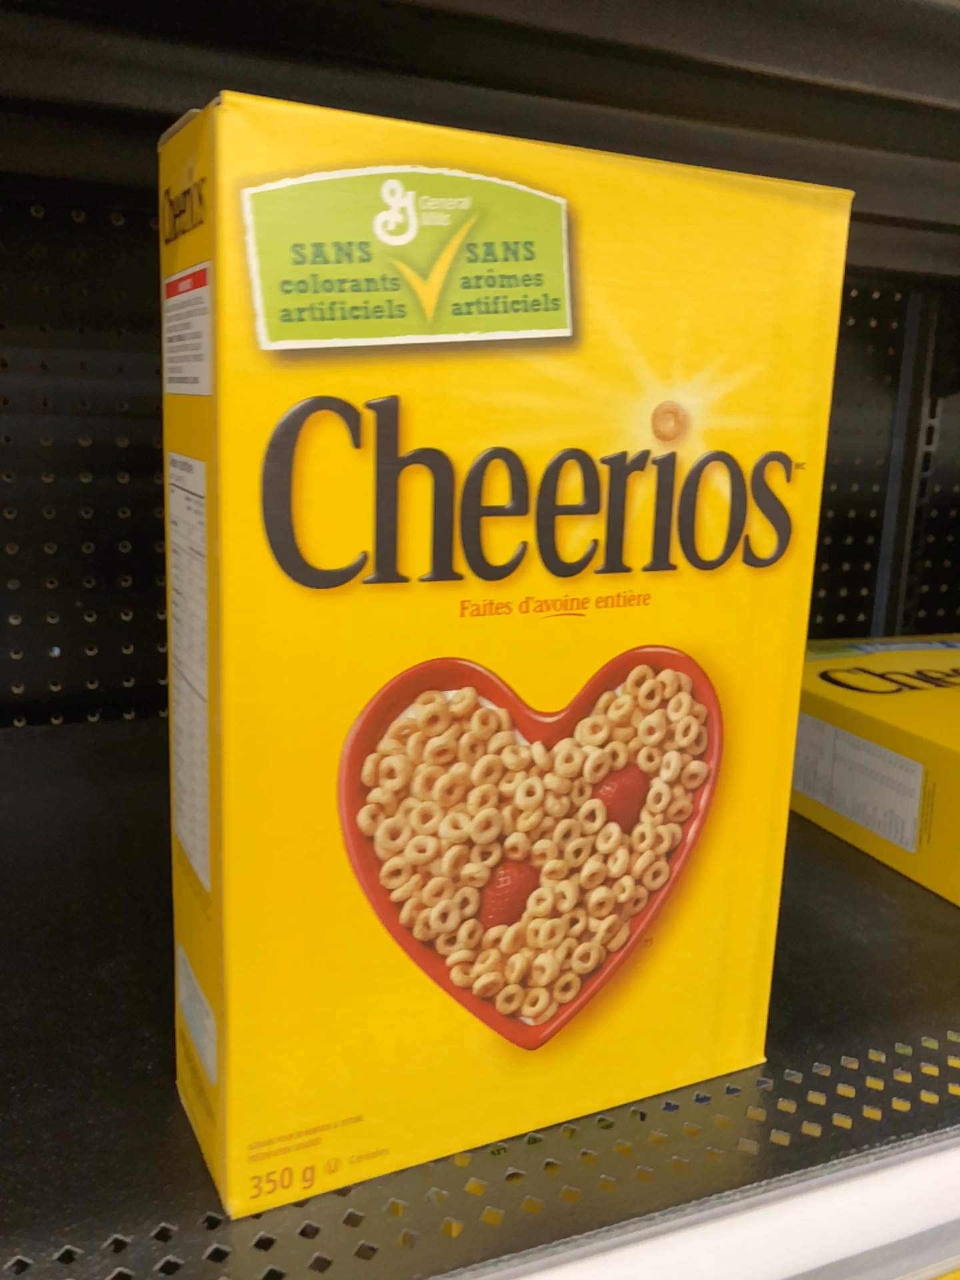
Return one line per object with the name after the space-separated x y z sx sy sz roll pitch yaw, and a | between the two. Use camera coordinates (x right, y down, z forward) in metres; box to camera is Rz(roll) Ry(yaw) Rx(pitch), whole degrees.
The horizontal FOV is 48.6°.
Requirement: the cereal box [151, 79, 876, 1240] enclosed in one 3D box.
0.008 0.007 0.358 0.210 0.309 0.080 -4 13 -26 | cereal box
